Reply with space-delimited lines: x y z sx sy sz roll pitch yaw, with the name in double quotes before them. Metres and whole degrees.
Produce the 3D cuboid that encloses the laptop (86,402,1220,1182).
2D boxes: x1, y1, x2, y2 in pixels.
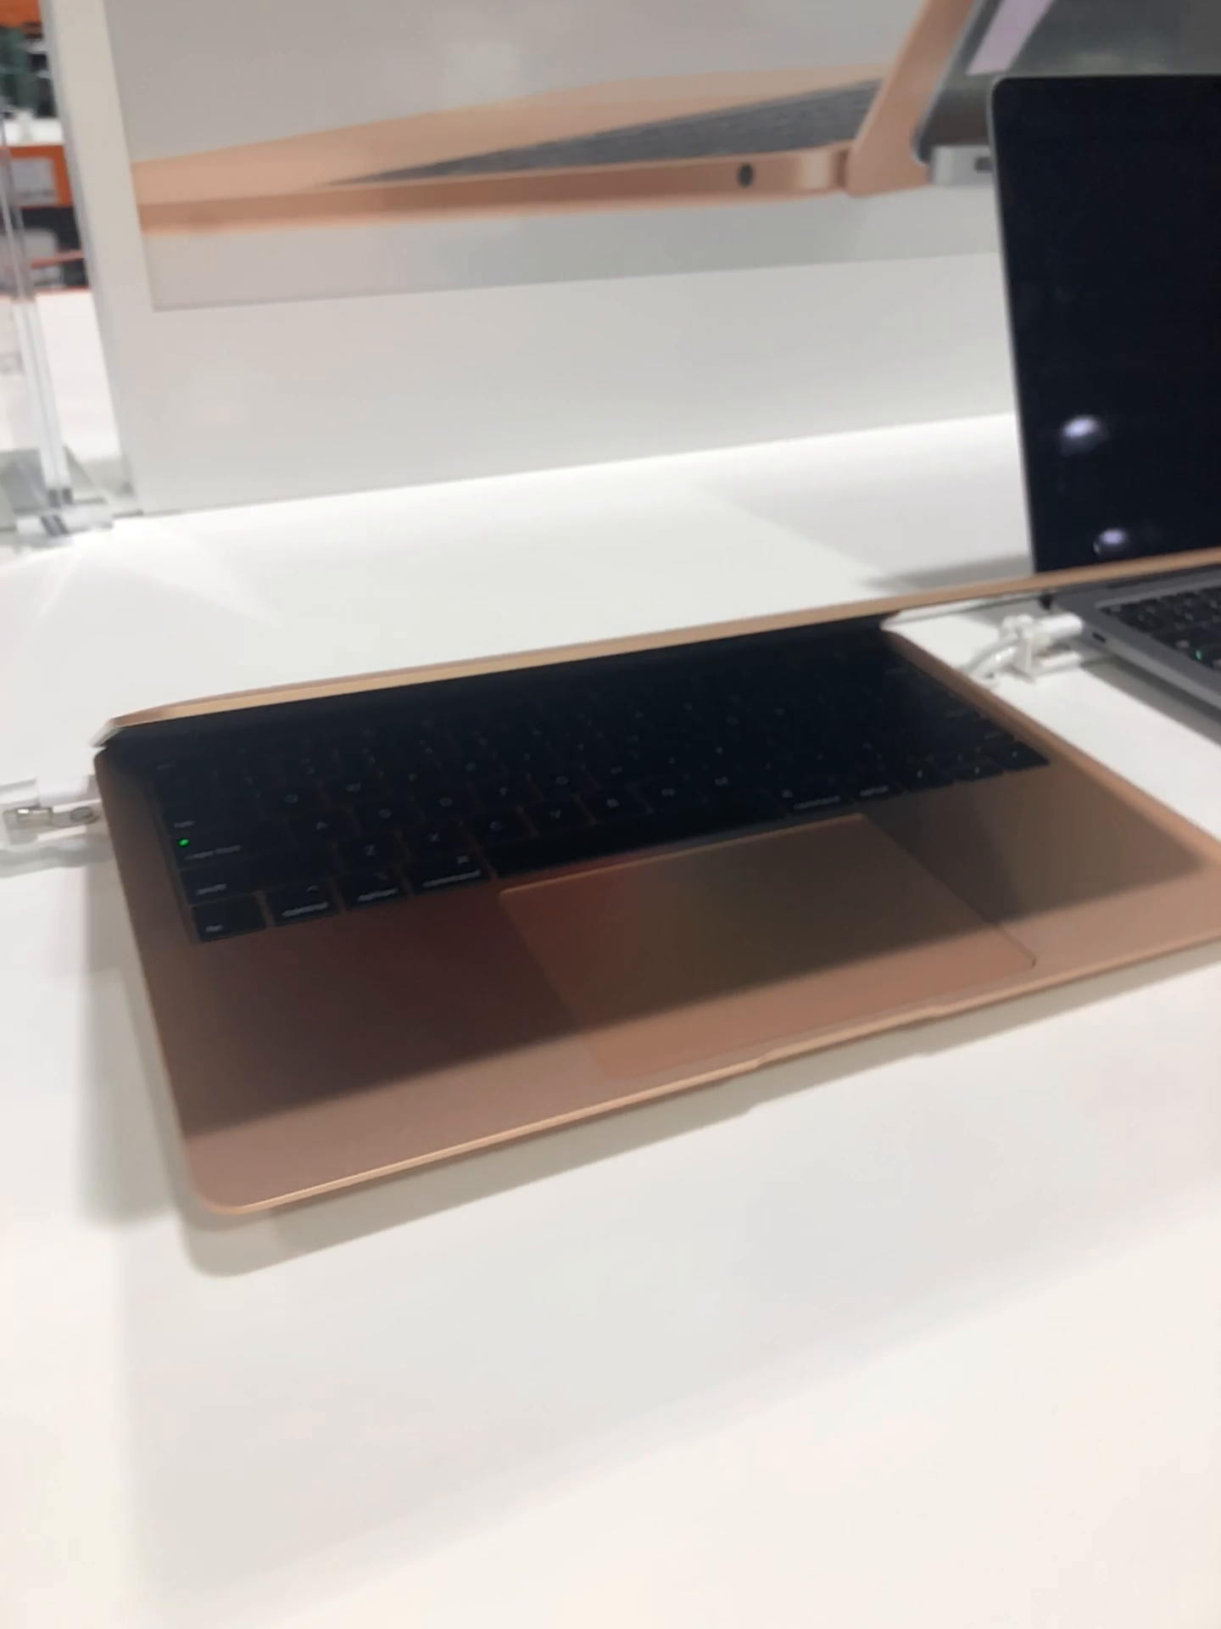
"laptop" 0.019 -0.039 0.389 0.285 0.091 0.210 -11 32 -22
